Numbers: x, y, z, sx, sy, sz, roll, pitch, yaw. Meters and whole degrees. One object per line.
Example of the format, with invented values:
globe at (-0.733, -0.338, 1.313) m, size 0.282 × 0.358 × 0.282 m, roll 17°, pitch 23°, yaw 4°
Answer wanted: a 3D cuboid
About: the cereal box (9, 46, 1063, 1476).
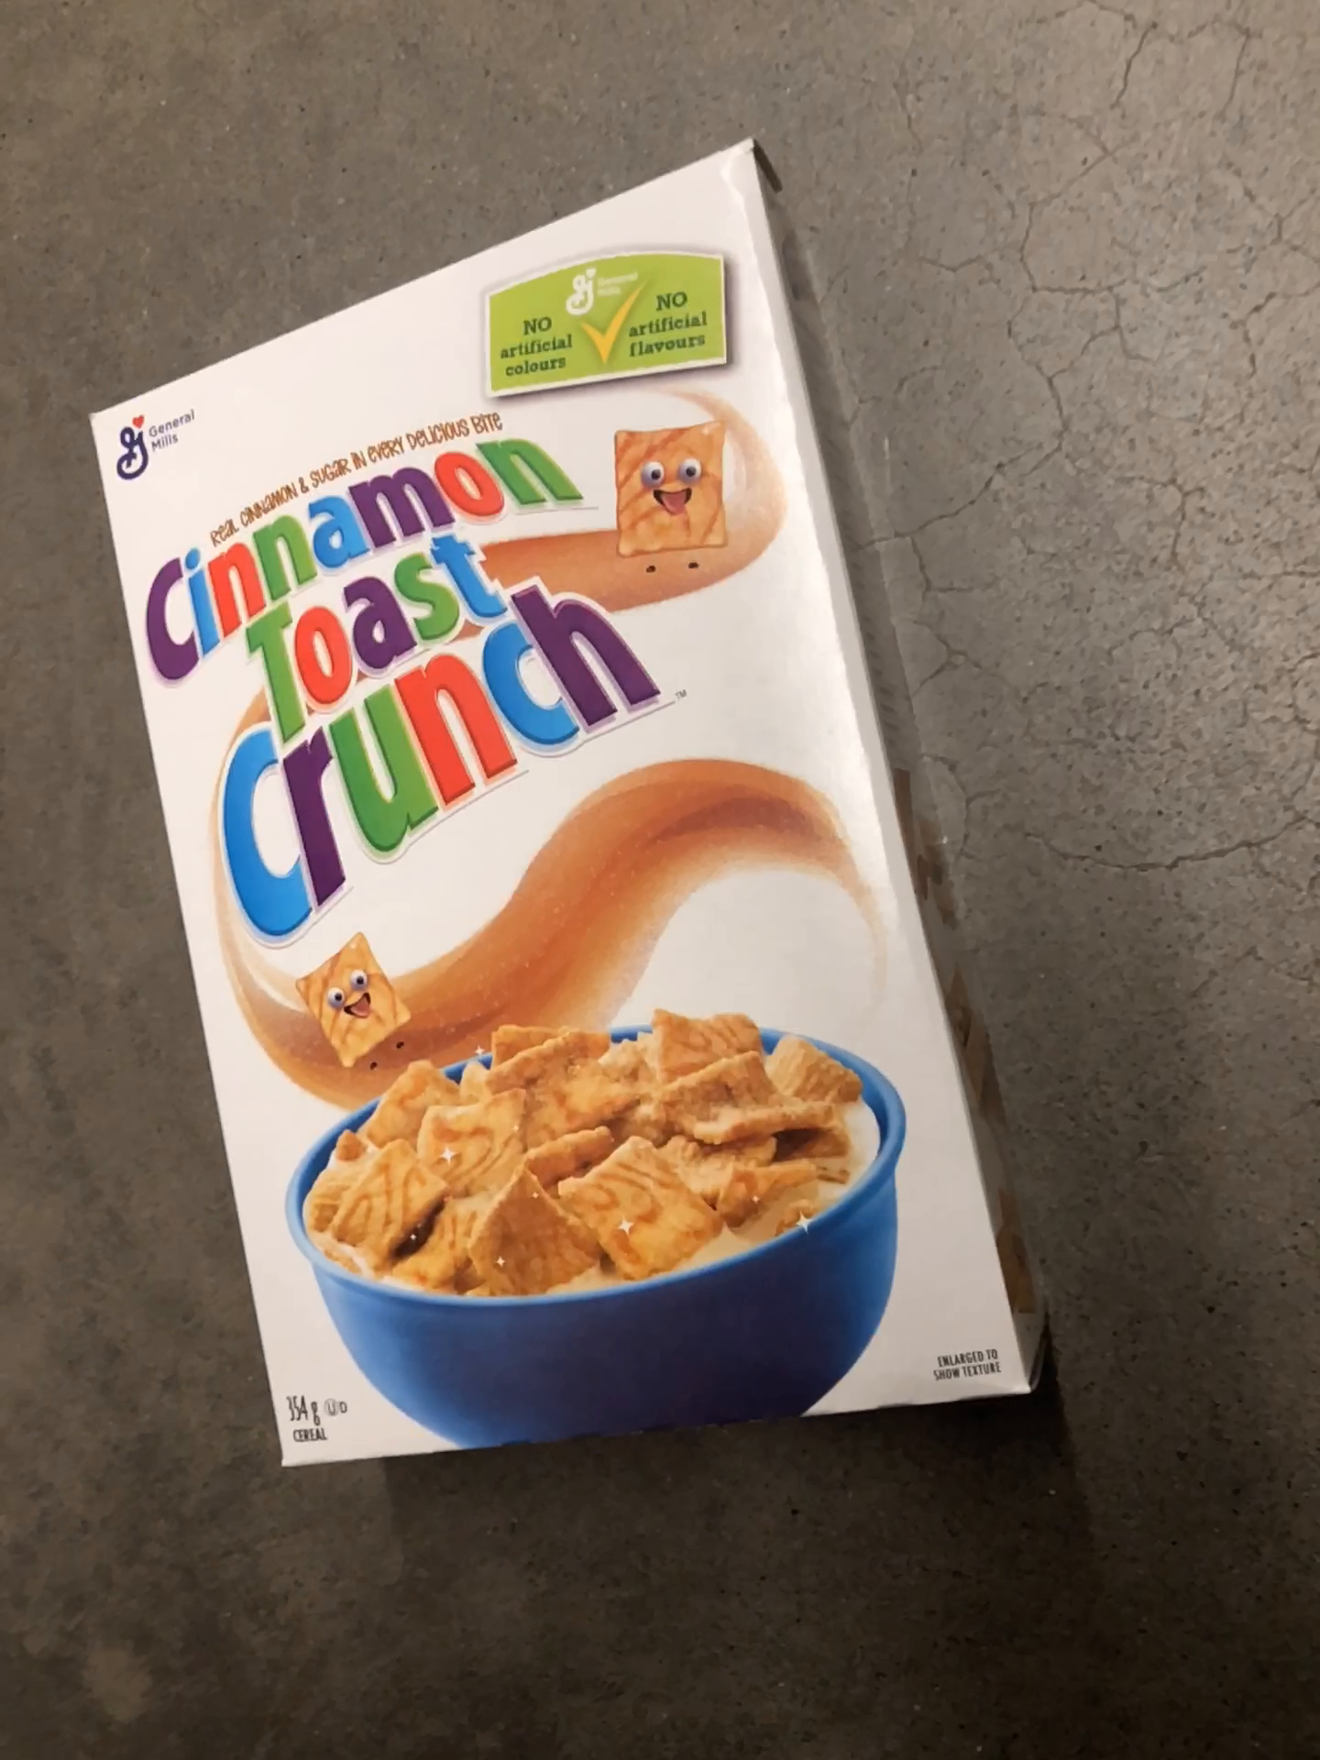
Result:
cereal box at (-0.037, -0.014, 0.367) m, size 0.200 × 0.060 × 0.290 m, roll -14°, pitch 87°, yaw 22°
